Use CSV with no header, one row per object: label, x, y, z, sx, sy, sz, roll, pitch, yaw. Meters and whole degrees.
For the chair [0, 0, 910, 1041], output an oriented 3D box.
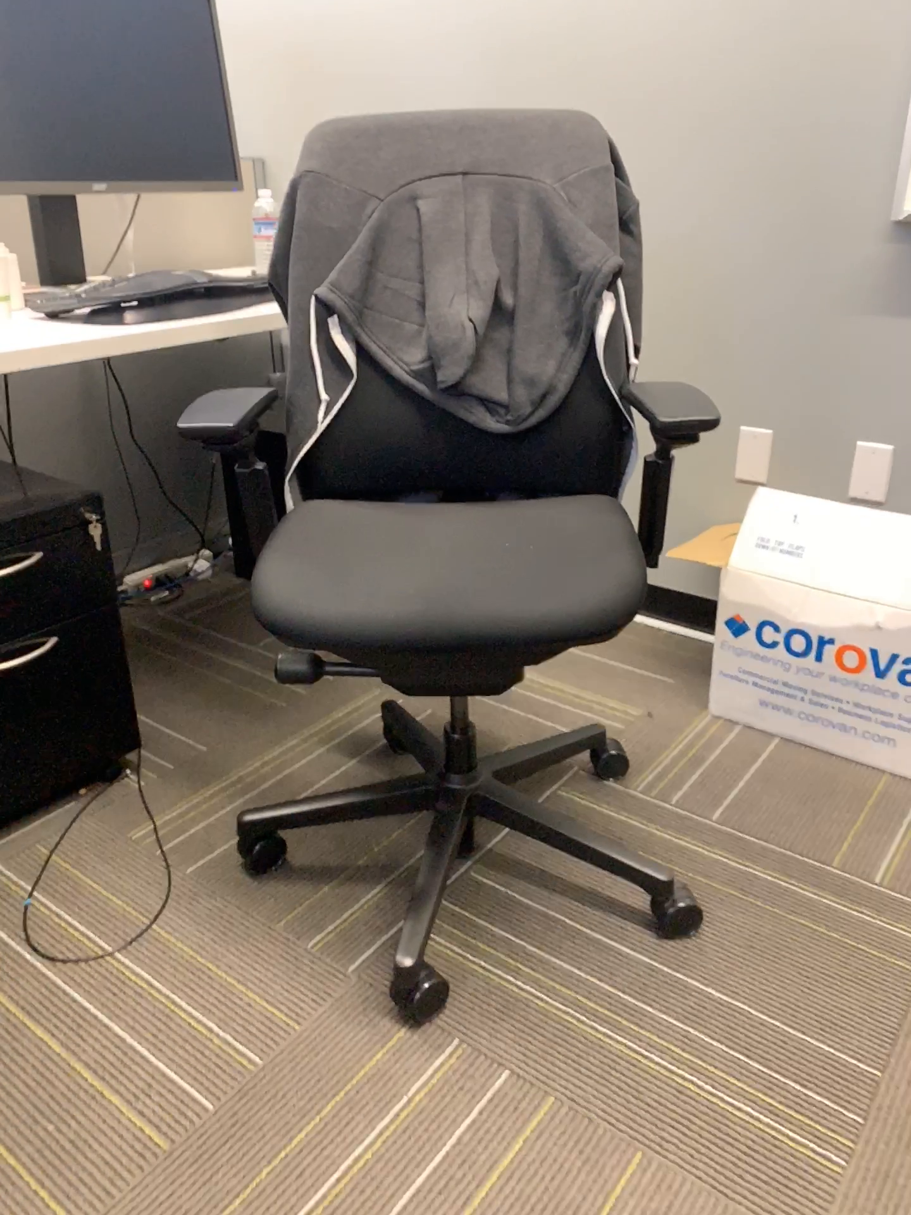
chair,-0.012,-0.163,1.321,0.750,1.074,0.885,1,24,3
